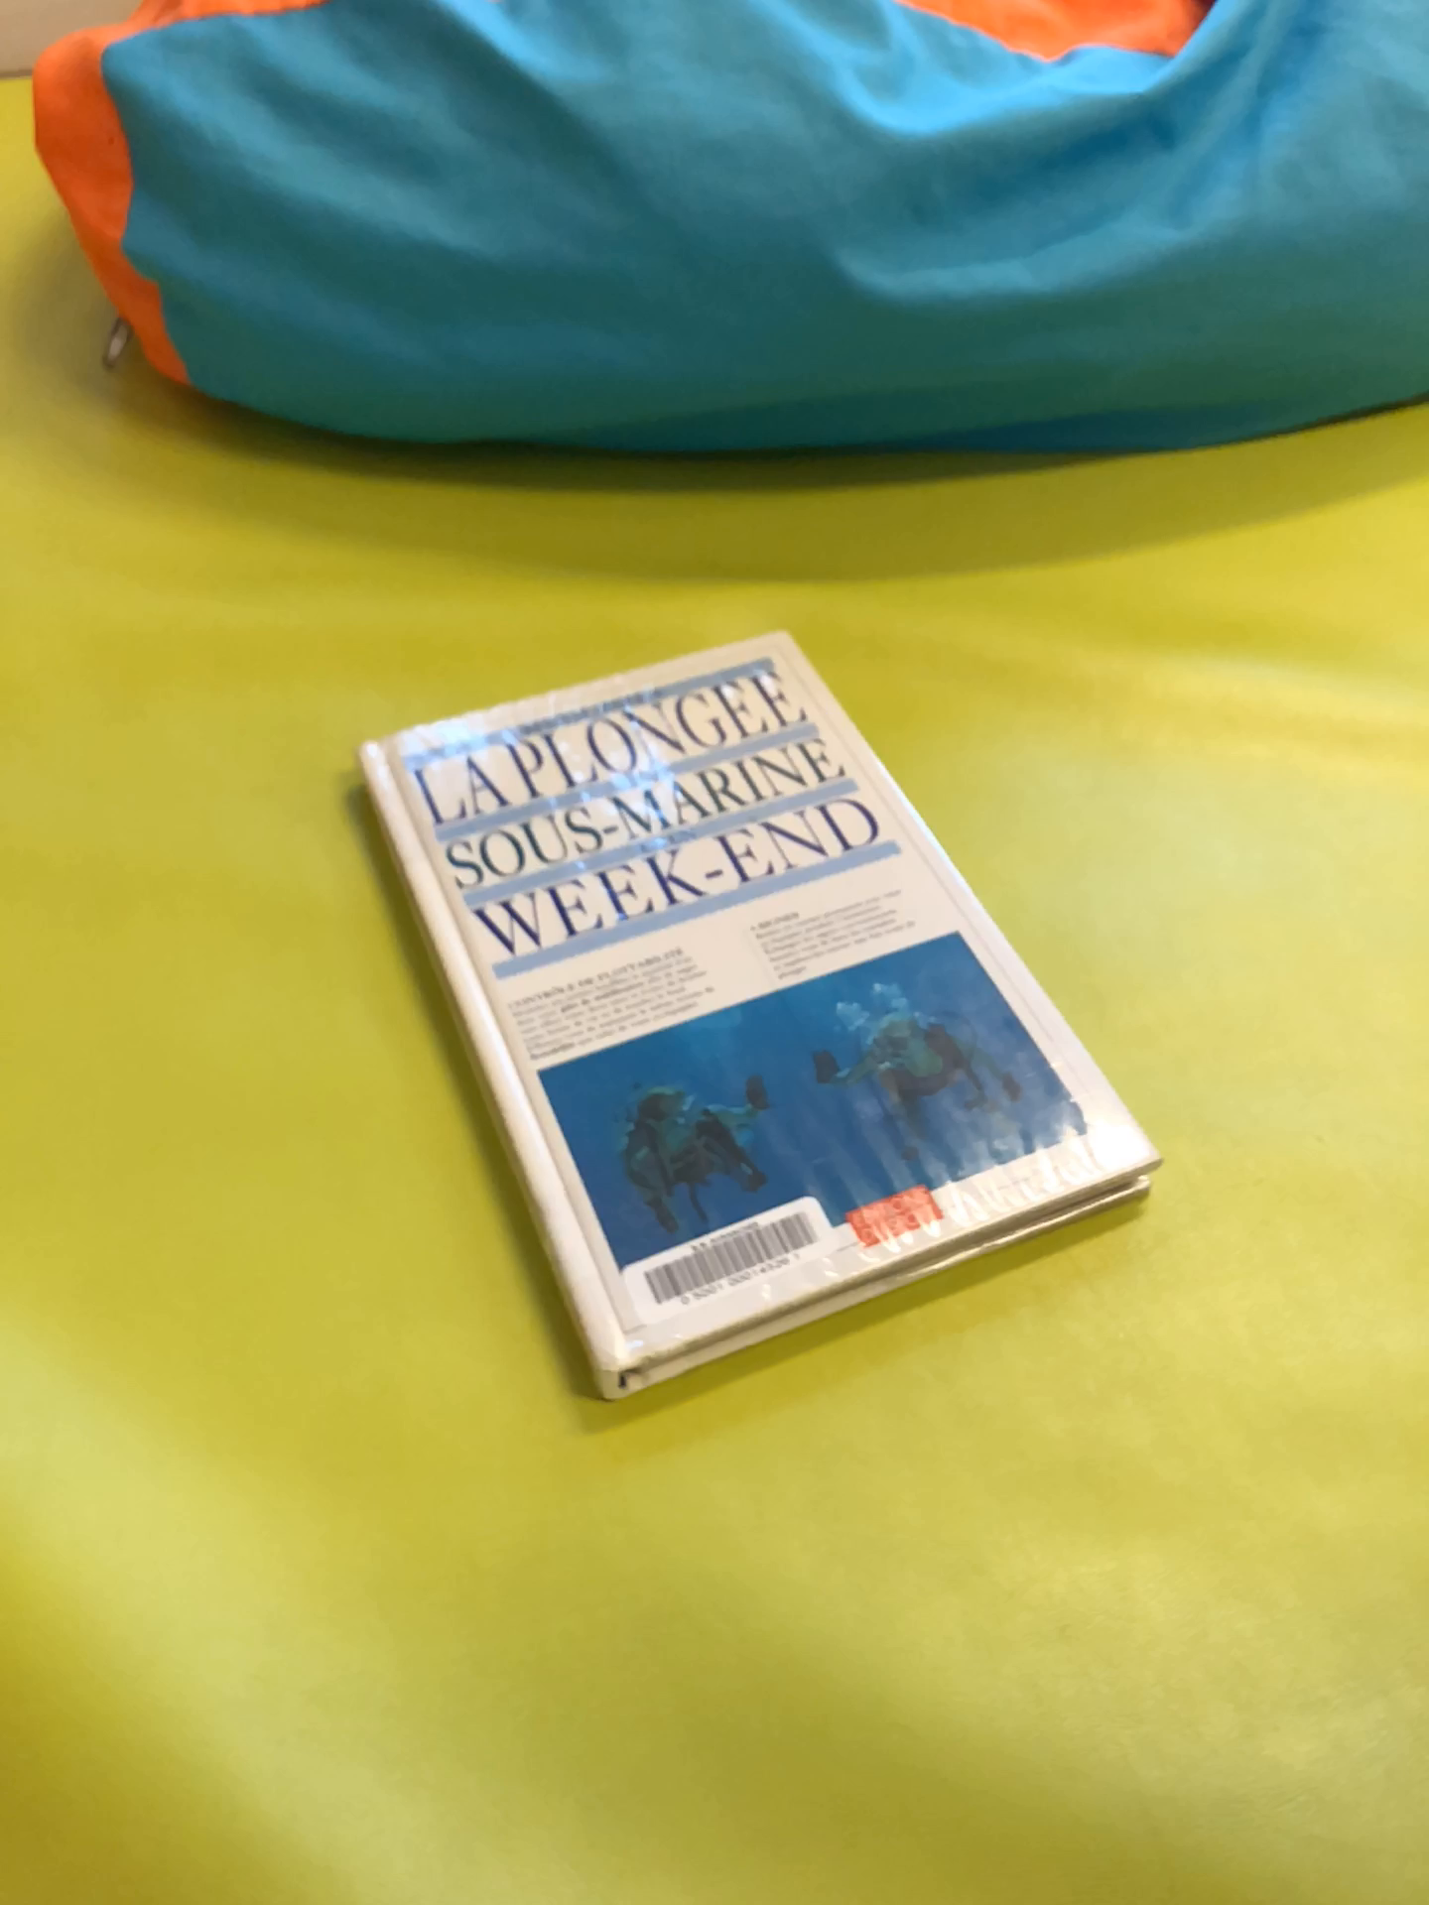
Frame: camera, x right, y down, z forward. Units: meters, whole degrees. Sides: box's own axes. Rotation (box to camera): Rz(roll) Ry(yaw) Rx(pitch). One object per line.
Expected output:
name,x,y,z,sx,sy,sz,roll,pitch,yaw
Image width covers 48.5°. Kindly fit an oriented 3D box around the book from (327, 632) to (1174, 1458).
book,-0.004,0.004,0.443,0.150,0.020,0.235,-18,51,-15
